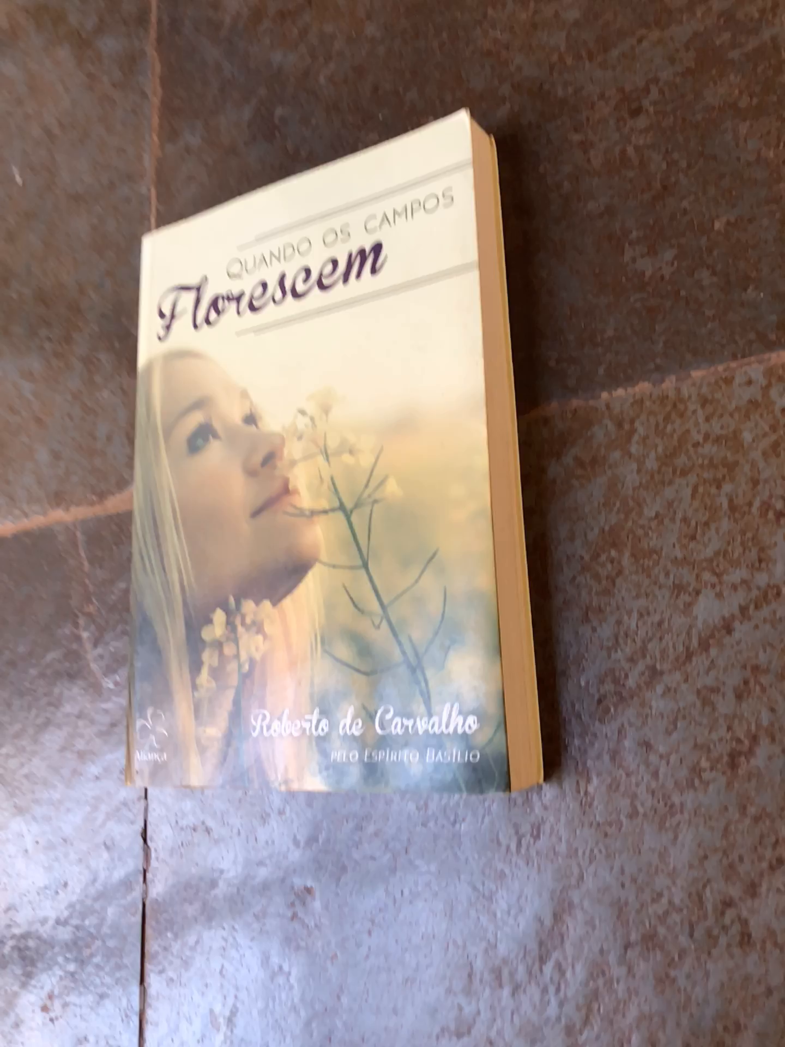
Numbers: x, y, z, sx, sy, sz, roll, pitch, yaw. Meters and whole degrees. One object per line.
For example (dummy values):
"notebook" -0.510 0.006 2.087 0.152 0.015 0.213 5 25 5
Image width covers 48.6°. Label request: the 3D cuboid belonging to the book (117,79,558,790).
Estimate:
"book" -0.030 -0.024 0.311 0.161 0.022 0.225 -9 76 29
